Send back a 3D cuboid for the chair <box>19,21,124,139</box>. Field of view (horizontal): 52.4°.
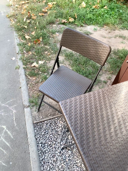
[{"bbox_3d":[0.048,-0.025,1.054,0.470,0.687,0.471,29,53,19],"label":"chair"}]
